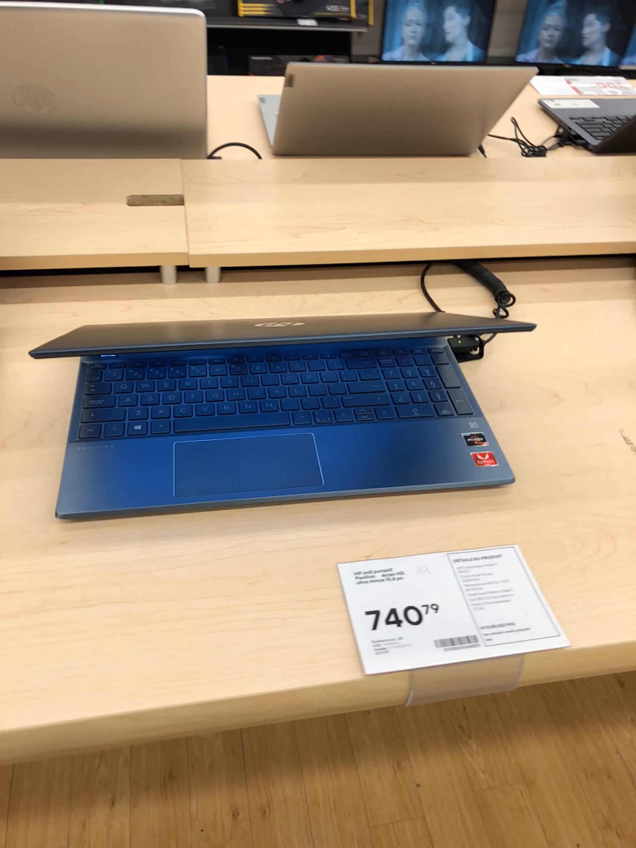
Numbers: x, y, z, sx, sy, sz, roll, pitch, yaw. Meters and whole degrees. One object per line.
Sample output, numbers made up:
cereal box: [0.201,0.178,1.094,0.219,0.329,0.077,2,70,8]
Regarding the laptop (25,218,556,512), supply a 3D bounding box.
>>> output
laptop: [-0.027,-0.062,0.570,0.349,0.119,0.210,-3,43,-9]
